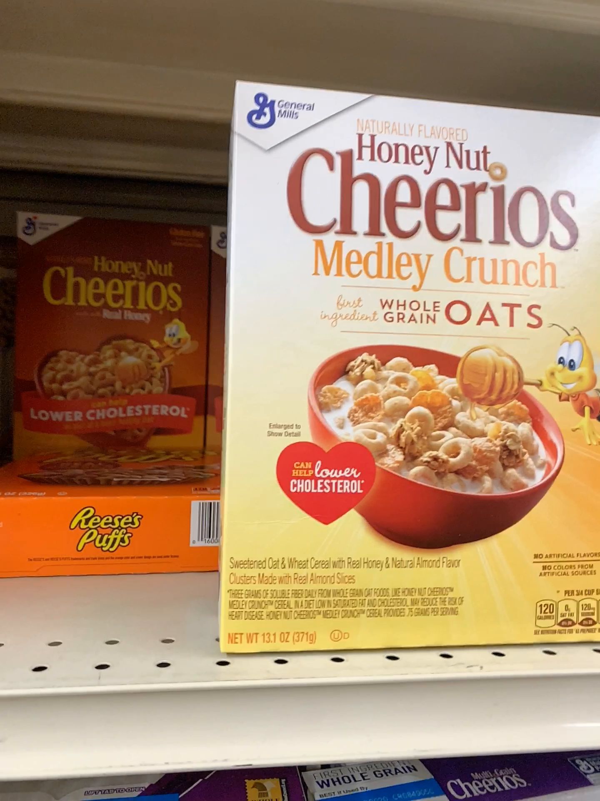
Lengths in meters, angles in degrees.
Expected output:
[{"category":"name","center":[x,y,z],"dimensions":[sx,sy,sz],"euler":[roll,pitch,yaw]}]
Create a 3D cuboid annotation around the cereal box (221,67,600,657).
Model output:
[{"category":"cereal box","center":[0.060,-0.017,0.304],"dimensions":[0.190,0.250,0.060],"euler":[1,-3,-8]}]
